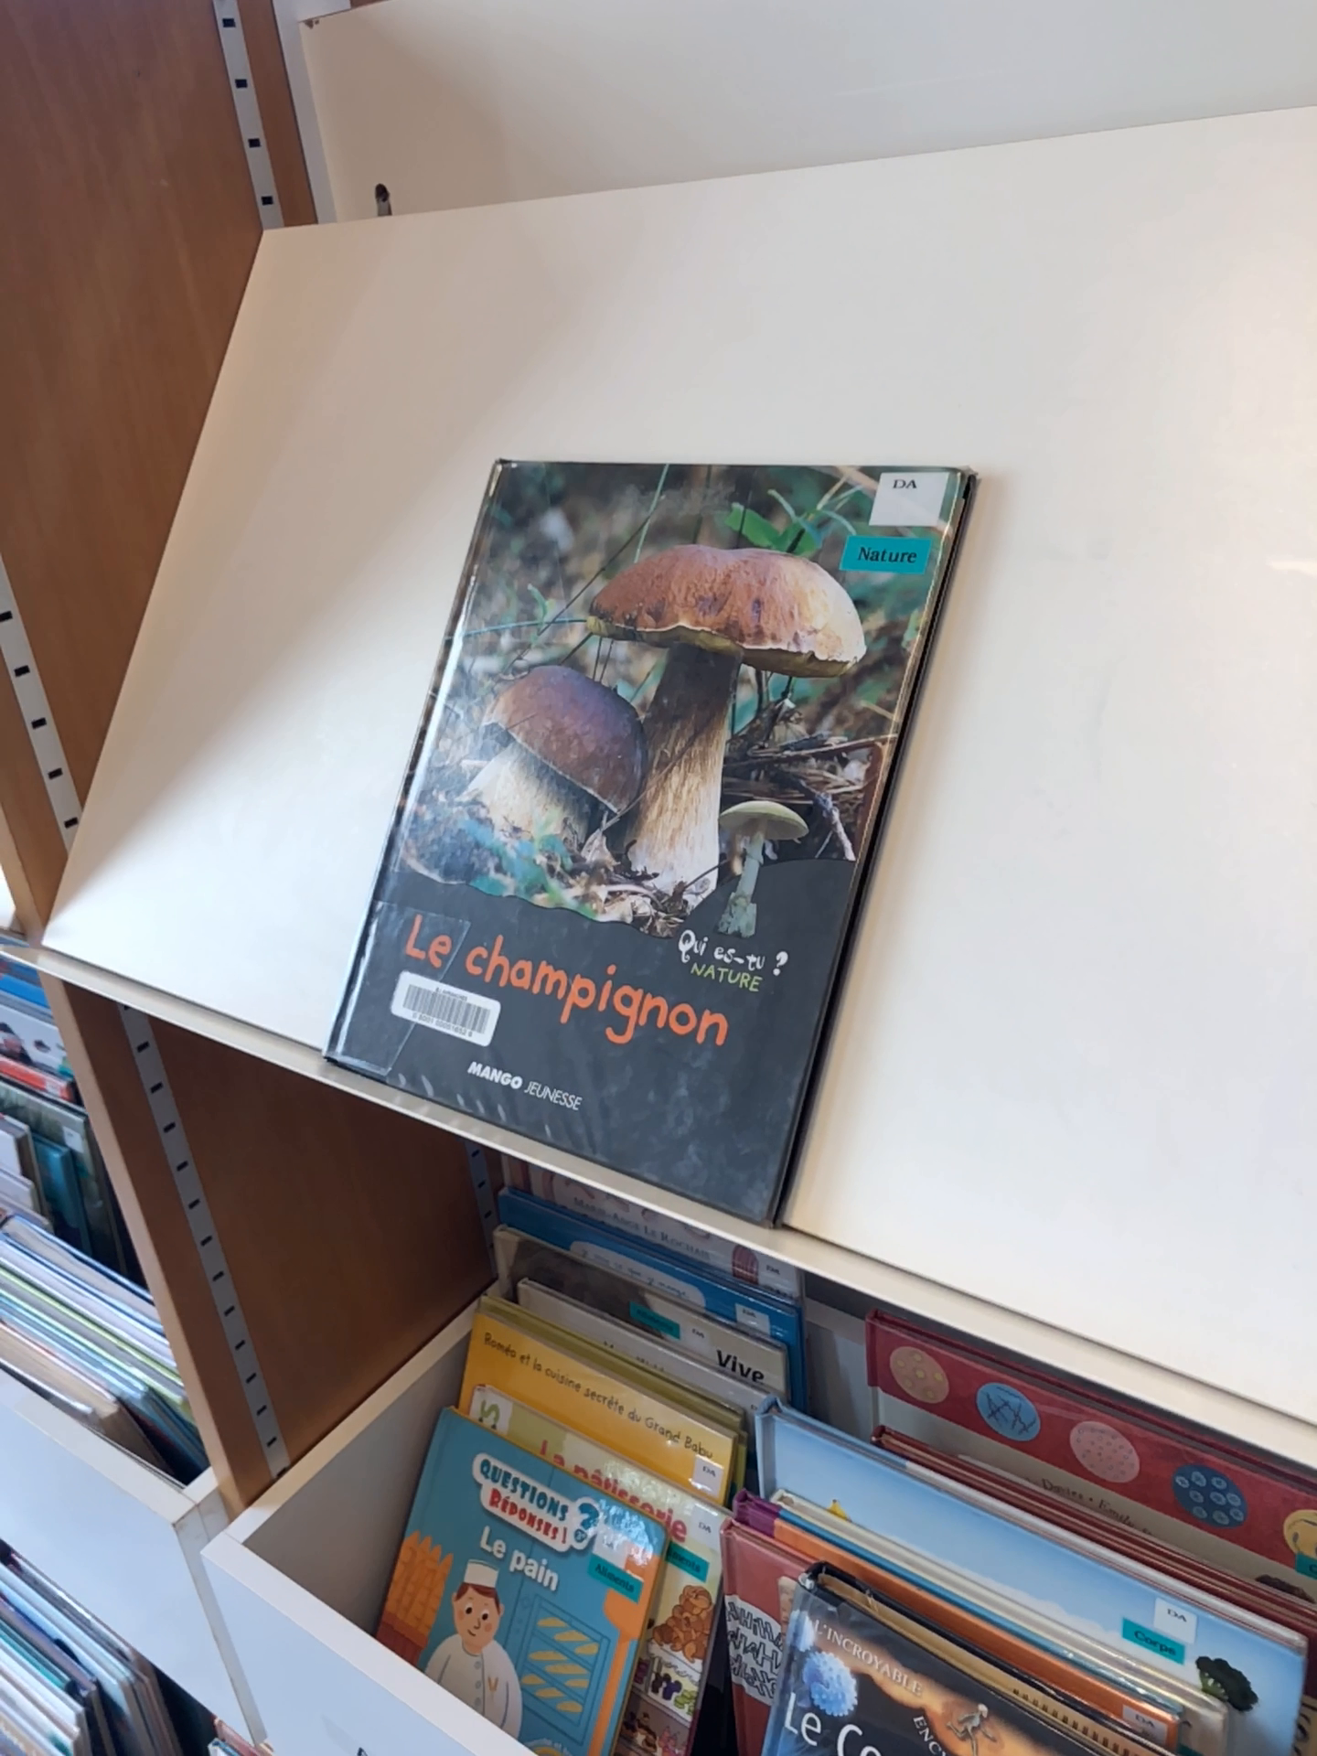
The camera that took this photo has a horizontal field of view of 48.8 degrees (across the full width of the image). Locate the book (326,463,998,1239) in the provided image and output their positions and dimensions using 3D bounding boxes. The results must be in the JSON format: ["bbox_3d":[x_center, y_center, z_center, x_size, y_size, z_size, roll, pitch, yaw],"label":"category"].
[{"bbox_3d":[-0.008,-0.026,0.506,0.202,0.242,0.020,12,-5,36],"label":"book"}]
